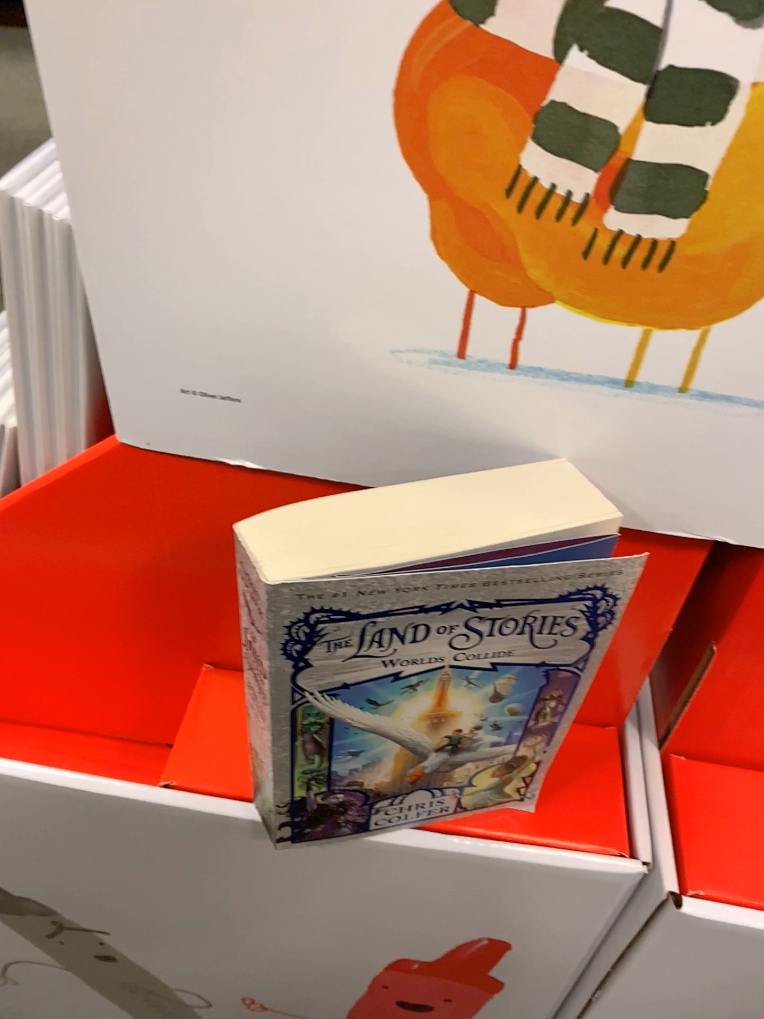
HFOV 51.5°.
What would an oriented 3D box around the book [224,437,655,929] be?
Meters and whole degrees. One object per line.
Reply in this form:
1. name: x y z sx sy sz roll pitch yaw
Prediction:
1. book: 0.015 0.079 0.330 0.130 0.193 0.065 -14 45 -19
